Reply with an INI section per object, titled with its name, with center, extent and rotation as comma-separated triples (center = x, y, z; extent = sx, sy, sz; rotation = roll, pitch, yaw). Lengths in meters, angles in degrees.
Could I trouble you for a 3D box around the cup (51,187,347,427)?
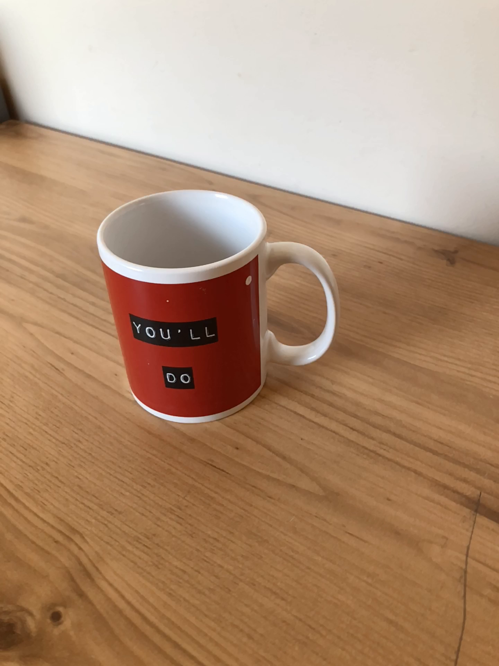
[cup]
center = -0.017, -0.017, 0.291
extent = 0.123, 0.086, 0.091
rotation = 1, 37, 4
